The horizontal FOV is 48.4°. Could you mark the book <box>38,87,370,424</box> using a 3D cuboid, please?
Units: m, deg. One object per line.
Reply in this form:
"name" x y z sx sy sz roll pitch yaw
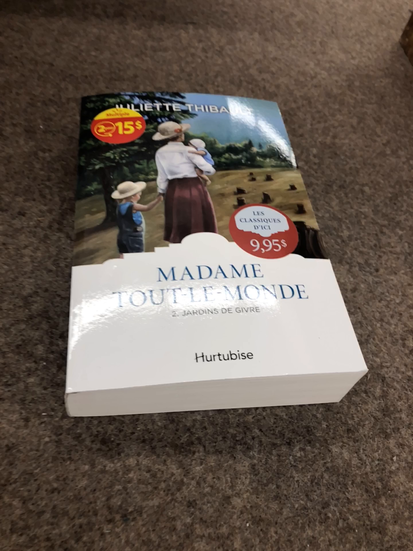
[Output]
"book" -0.011 -0.029 0.298 0.160 0.050 0.222 -2 57 -9
